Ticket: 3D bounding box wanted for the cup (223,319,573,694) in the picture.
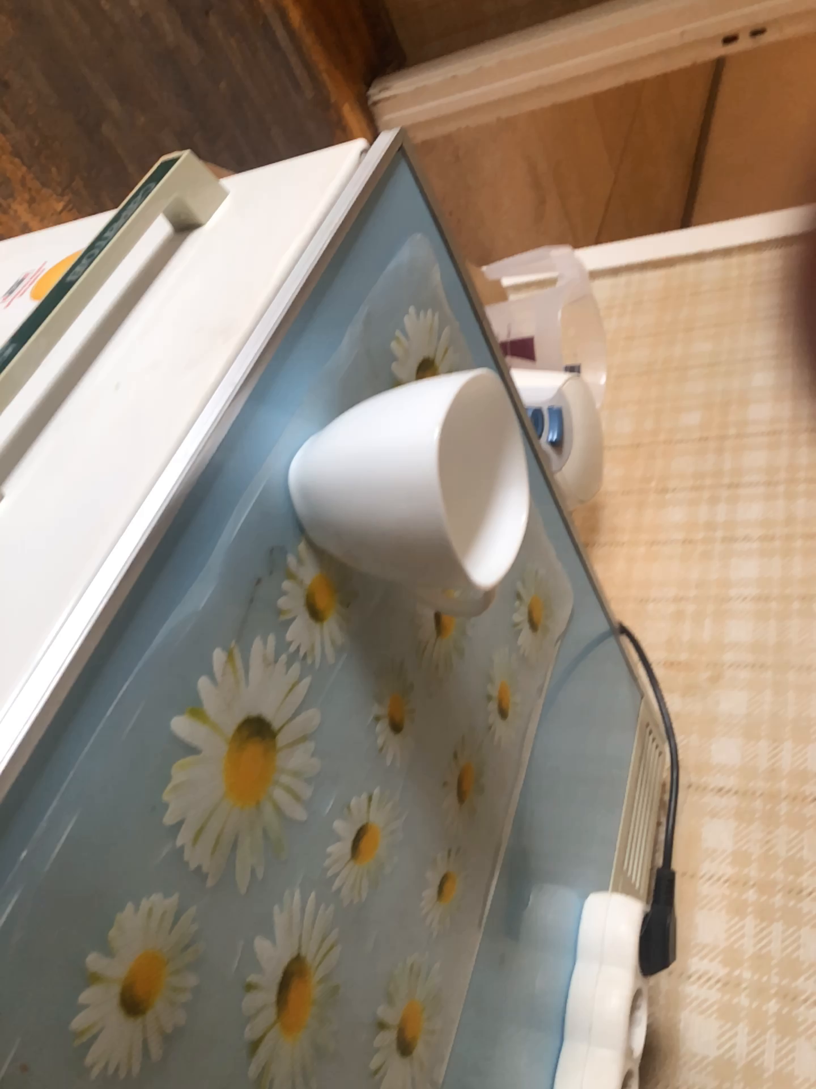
[{"bbox_3d":[0.004,-0.009,0.327,0.102,0.070,0.085,54,44,-44],"label":"cup"}]
